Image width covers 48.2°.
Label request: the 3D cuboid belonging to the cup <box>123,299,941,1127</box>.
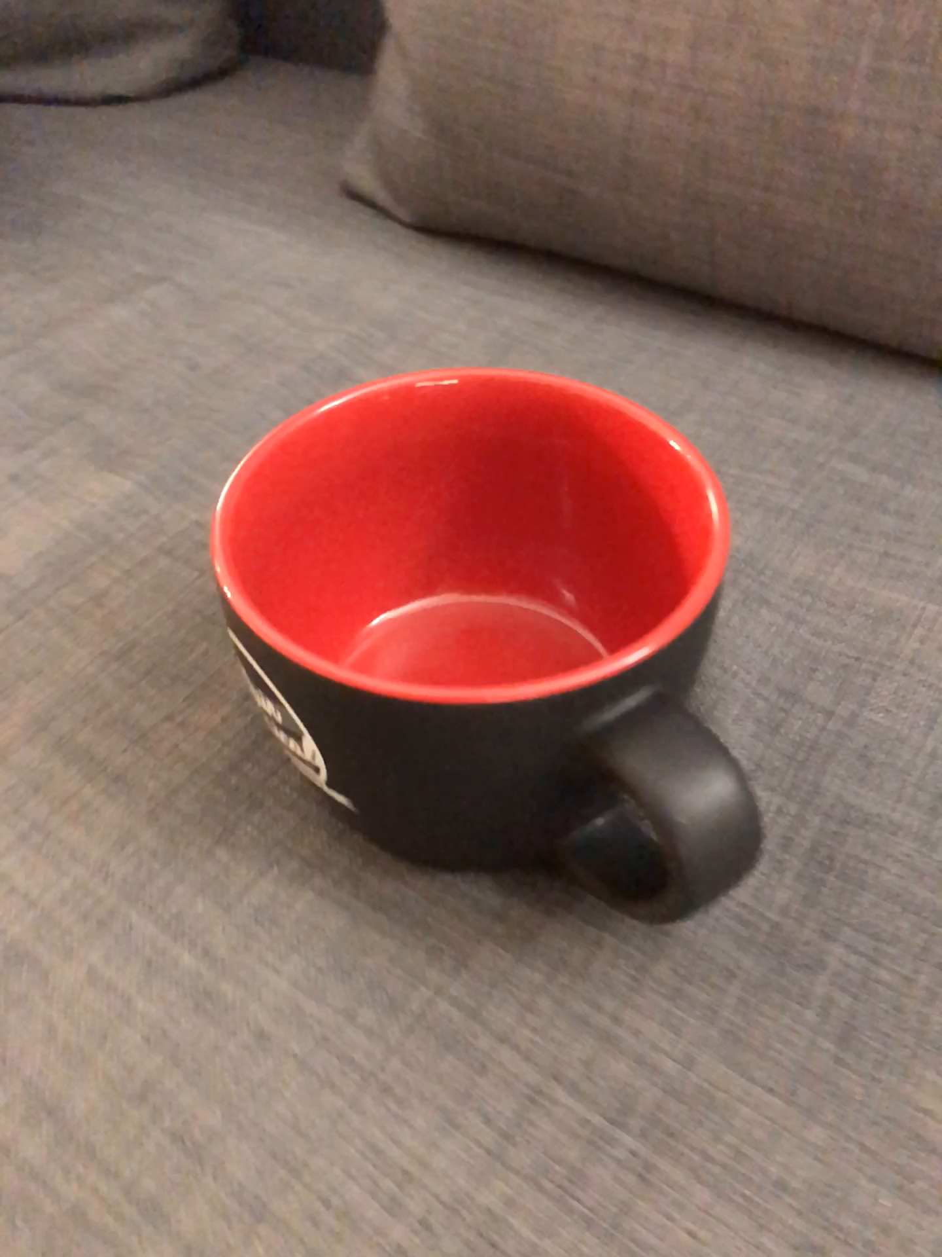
[{"bbox_3d":[0.010,0.003,0.258,0.120,0.080,0.161,-26,47,-22],"label":"cup"}]
